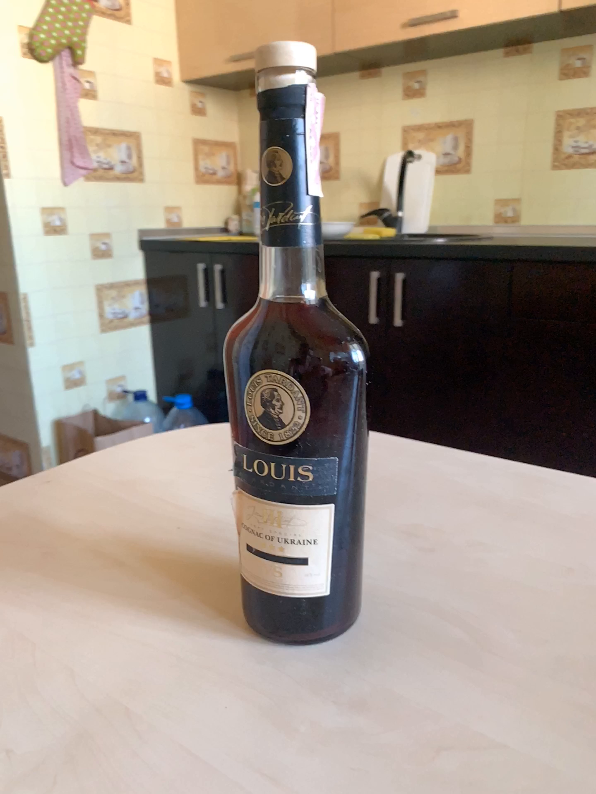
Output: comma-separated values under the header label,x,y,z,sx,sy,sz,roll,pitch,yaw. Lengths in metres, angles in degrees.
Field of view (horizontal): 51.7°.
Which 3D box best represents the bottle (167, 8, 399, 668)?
label,x,y,z,sx,sy,sz,roll,pitch,yaw
bottle,0.000,-0.018,0.315,0.080,0.289,0.080,-1,16,0
